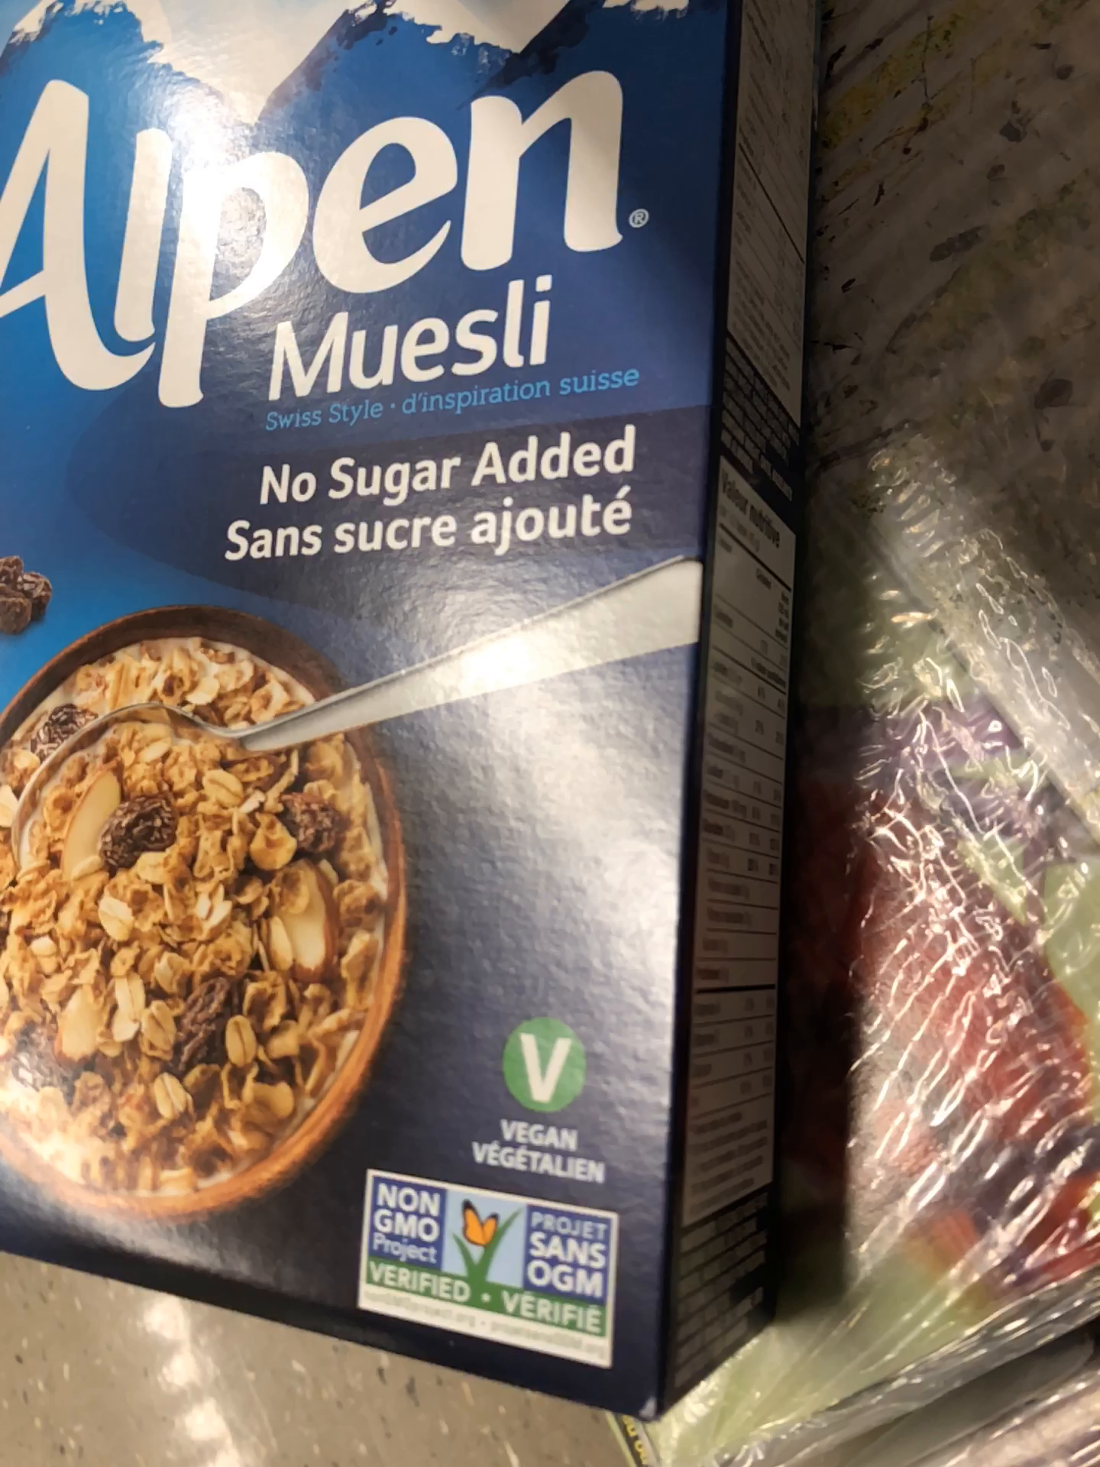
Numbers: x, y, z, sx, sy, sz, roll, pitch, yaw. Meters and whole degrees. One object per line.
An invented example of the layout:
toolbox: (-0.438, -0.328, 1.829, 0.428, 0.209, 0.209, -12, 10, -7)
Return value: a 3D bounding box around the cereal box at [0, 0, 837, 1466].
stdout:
cereal box: (-0.059, -0.036, 0.217, 0.200, 0.050, 0.250, 0, 81, 26)
